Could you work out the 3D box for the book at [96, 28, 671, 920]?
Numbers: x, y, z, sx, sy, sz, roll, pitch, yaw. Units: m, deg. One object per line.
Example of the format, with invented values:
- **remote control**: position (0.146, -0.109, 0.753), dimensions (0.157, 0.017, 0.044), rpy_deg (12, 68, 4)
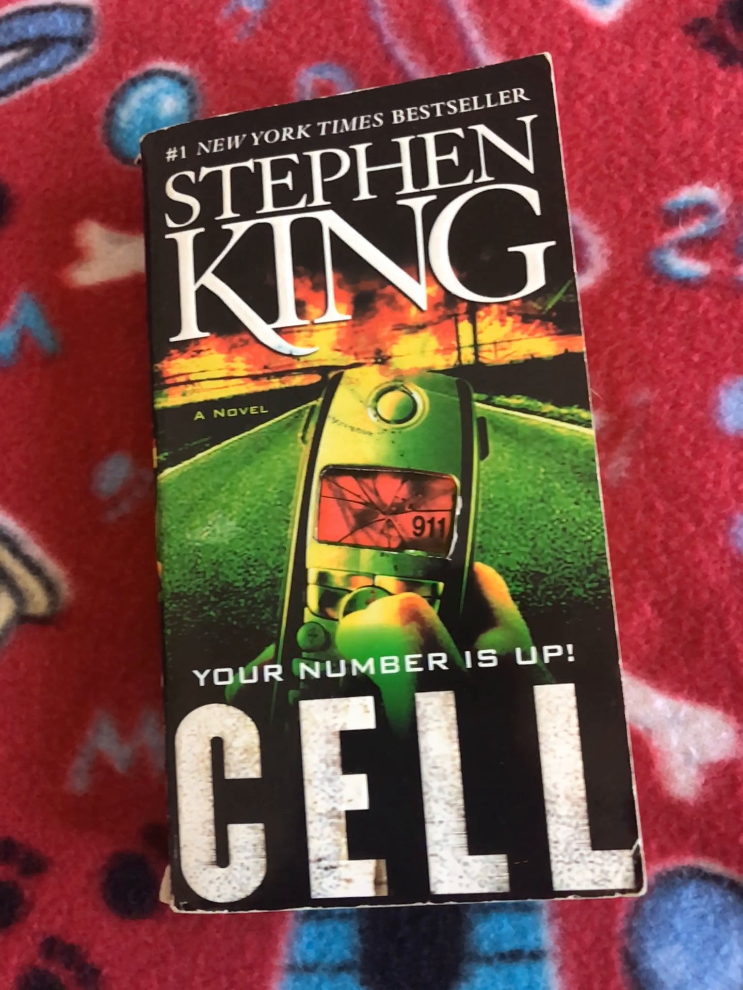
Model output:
- **book**: position (-0.002, -0.007, 0.207), dimensions (0.120, 0.030, 0.200), rpy_deg (-5, 82, 5)
